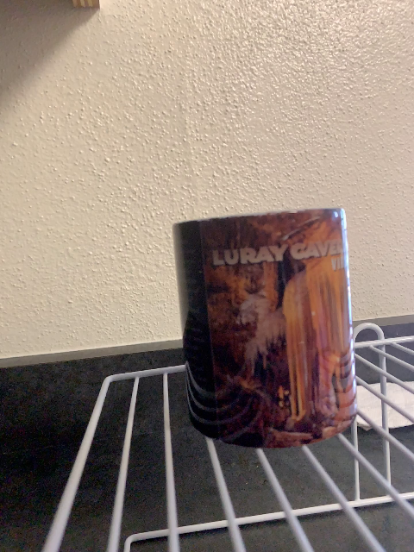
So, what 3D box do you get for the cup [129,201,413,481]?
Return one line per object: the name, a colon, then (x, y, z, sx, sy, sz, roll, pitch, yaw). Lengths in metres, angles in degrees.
cup: (0.040, 0.014, 0.206, 0.120, 0.090, 0.080, -10, 8, -42)
